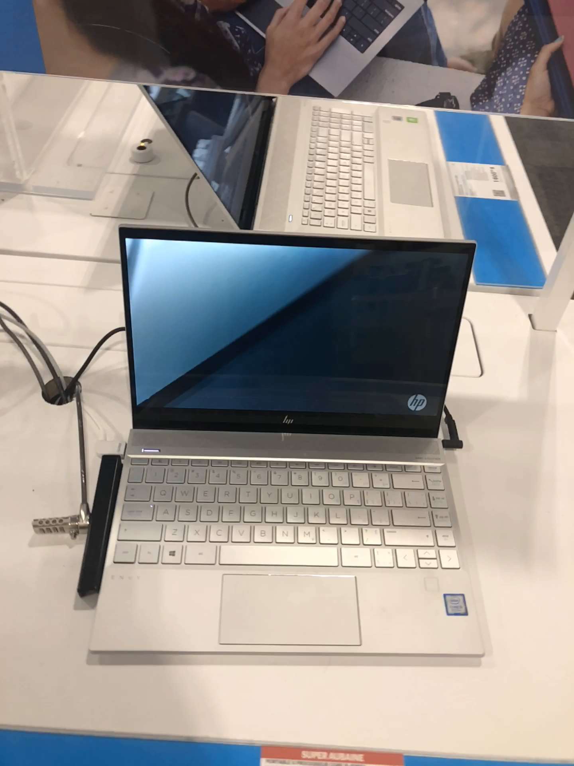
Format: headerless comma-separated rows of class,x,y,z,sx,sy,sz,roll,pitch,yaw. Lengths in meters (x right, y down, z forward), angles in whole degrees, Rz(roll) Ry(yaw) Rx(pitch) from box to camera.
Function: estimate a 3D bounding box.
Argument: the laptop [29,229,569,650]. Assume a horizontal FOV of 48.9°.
laptop,0.006,0.040,0.505,0.298,0.182,0.273,2,48,-3
